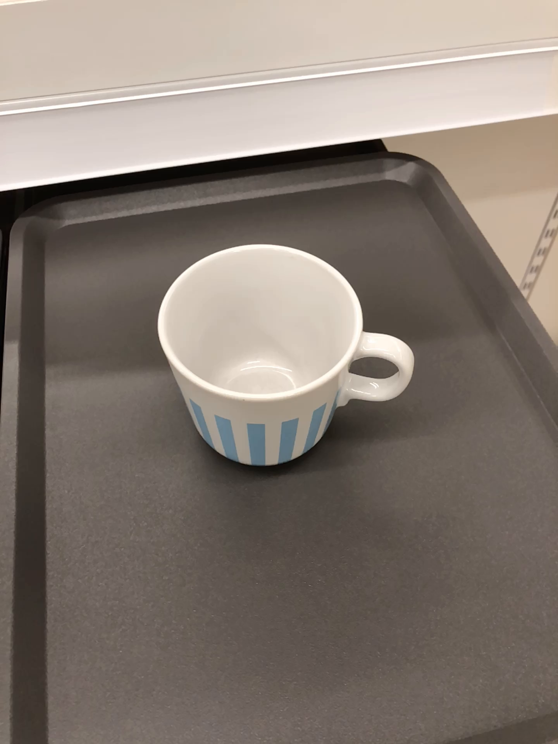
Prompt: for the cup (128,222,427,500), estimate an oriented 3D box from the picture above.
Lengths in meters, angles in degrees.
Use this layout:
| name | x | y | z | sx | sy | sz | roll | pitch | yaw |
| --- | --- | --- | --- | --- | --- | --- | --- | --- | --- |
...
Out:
| name | x | y | z | sx | sy | sz | roll | pitch | yaw |
| --- | --- | --- | --- | --- | --- | --- | --- | --- | --- |
| cup | 0.004 | -0.006 | 0.282 | 0.110 | 0.070 | 0.090 | 7 | 51 | 4 |
